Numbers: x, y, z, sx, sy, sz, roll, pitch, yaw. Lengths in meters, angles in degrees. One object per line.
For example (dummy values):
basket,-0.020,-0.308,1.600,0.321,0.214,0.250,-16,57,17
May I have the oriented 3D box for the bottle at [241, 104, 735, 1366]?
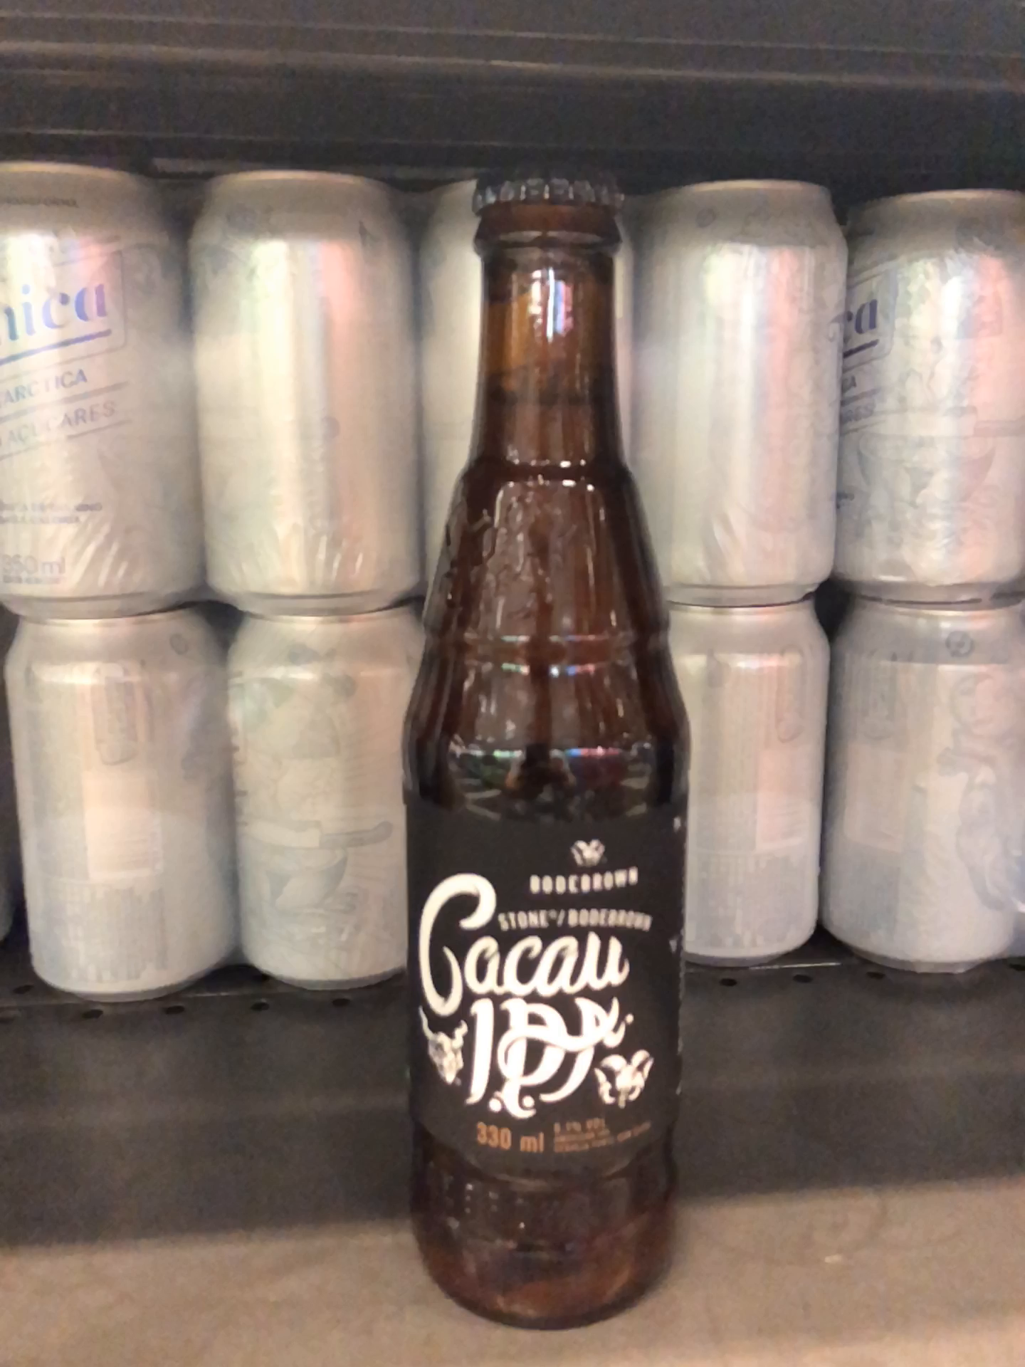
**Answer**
bottle,-0.004,0.019,0.246,0.080,0.249,0.070,1,14,2
